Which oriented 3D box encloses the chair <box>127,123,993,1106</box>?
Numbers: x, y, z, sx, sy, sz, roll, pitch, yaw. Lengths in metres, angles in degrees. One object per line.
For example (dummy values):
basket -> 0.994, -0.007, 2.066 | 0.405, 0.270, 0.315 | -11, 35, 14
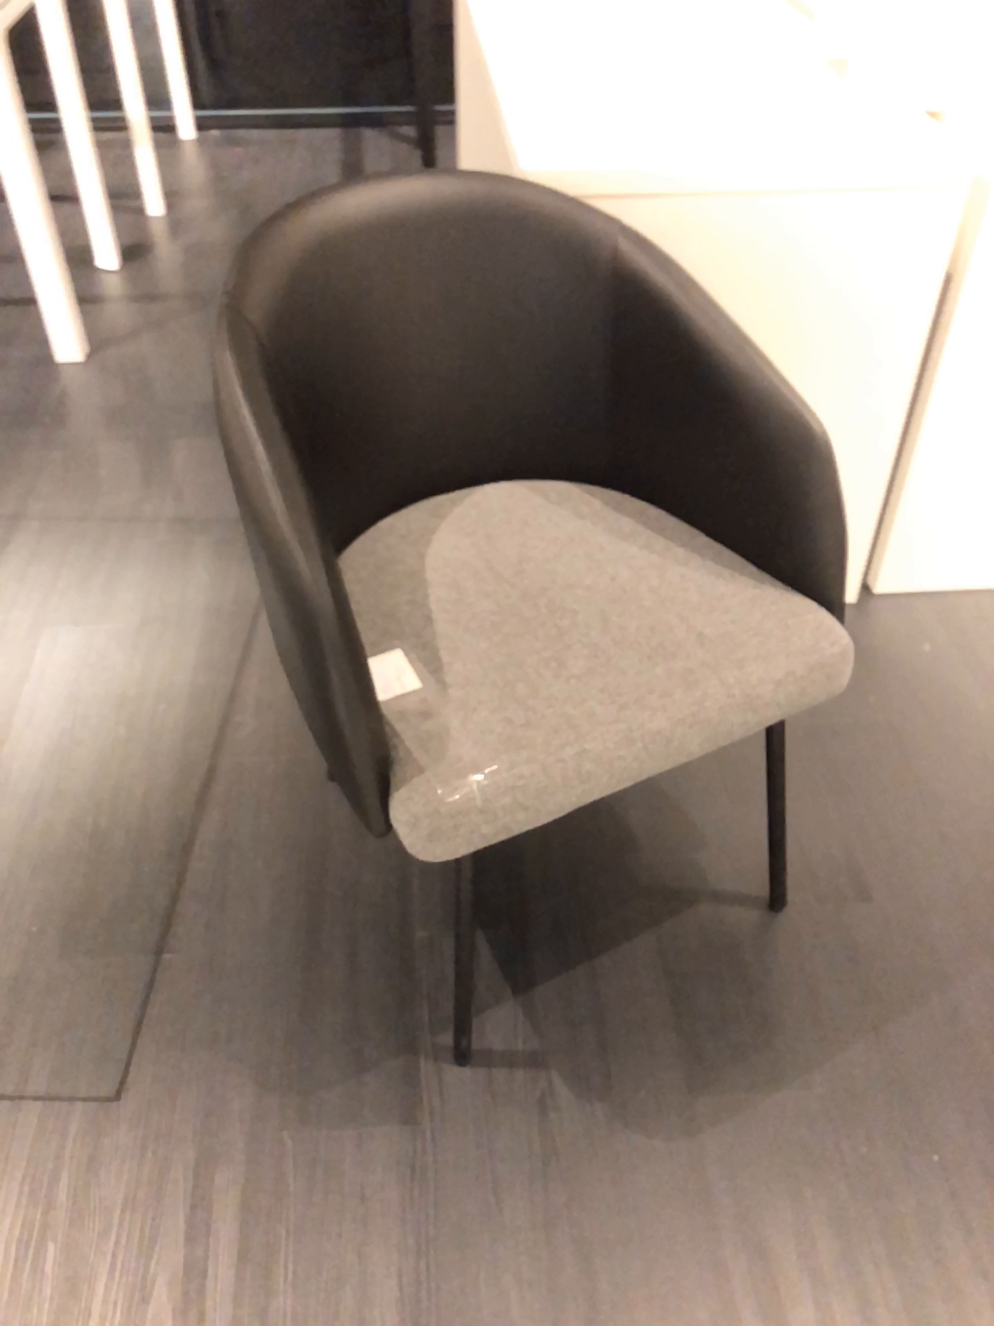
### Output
chair -> 0.043, -0.076, 1.239 | 0.611, 0.764, 0.594 | -19, 45, -20
